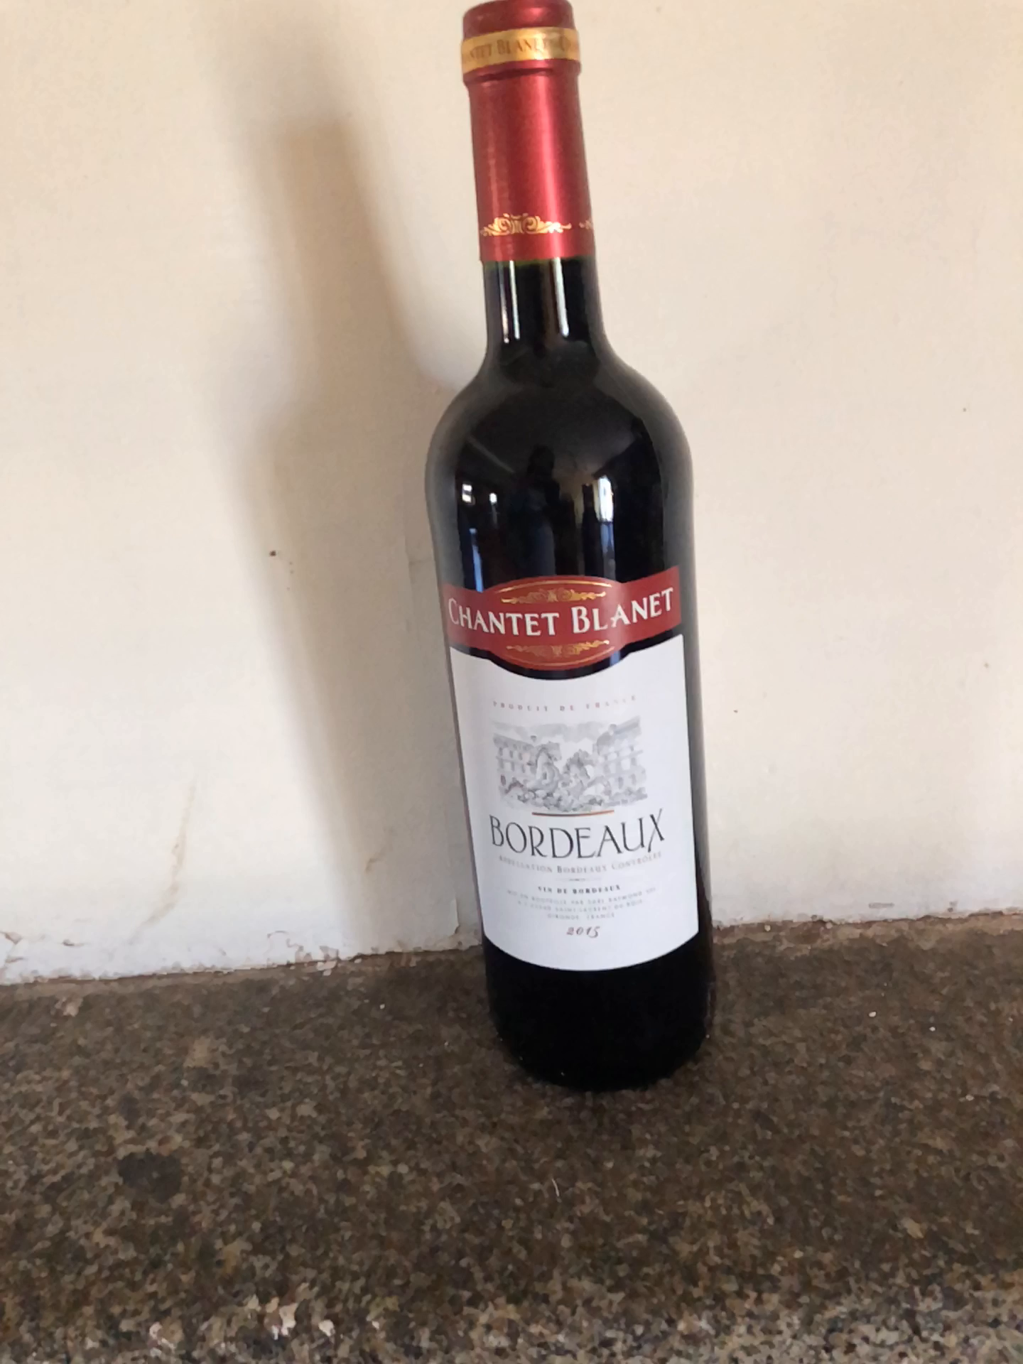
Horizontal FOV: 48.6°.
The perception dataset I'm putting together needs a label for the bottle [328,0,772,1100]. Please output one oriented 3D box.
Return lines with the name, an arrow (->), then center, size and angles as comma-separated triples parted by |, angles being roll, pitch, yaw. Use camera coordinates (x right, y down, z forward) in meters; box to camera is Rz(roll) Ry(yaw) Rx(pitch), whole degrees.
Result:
bottle -> 0.020, -0.031, 0.317 | 0.080, 0.289, 0.080 | -6, 20, 2
